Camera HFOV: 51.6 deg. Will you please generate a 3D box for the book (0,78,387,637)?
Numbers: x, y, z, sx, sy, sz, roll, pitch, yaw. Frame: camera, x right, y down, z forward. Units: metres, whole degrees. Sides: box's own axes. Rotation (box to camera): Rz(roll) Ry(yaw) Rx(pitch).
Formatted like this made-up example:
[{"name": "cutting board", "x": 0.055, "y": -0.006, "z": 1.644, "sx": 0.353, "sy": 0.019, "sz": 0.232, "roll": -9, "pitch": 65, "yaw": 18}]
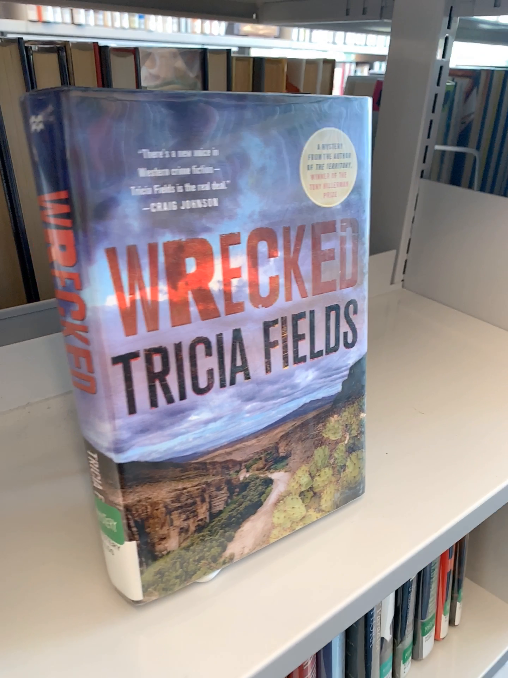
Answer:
[{"name": "book", "x": -0.012, "y": 0.002, "z": 0.232, "sx": 0.150, "sy": 0.202, "sz": 0.040, "roll": -15, "pitch": 22, "yaw": -31}]
